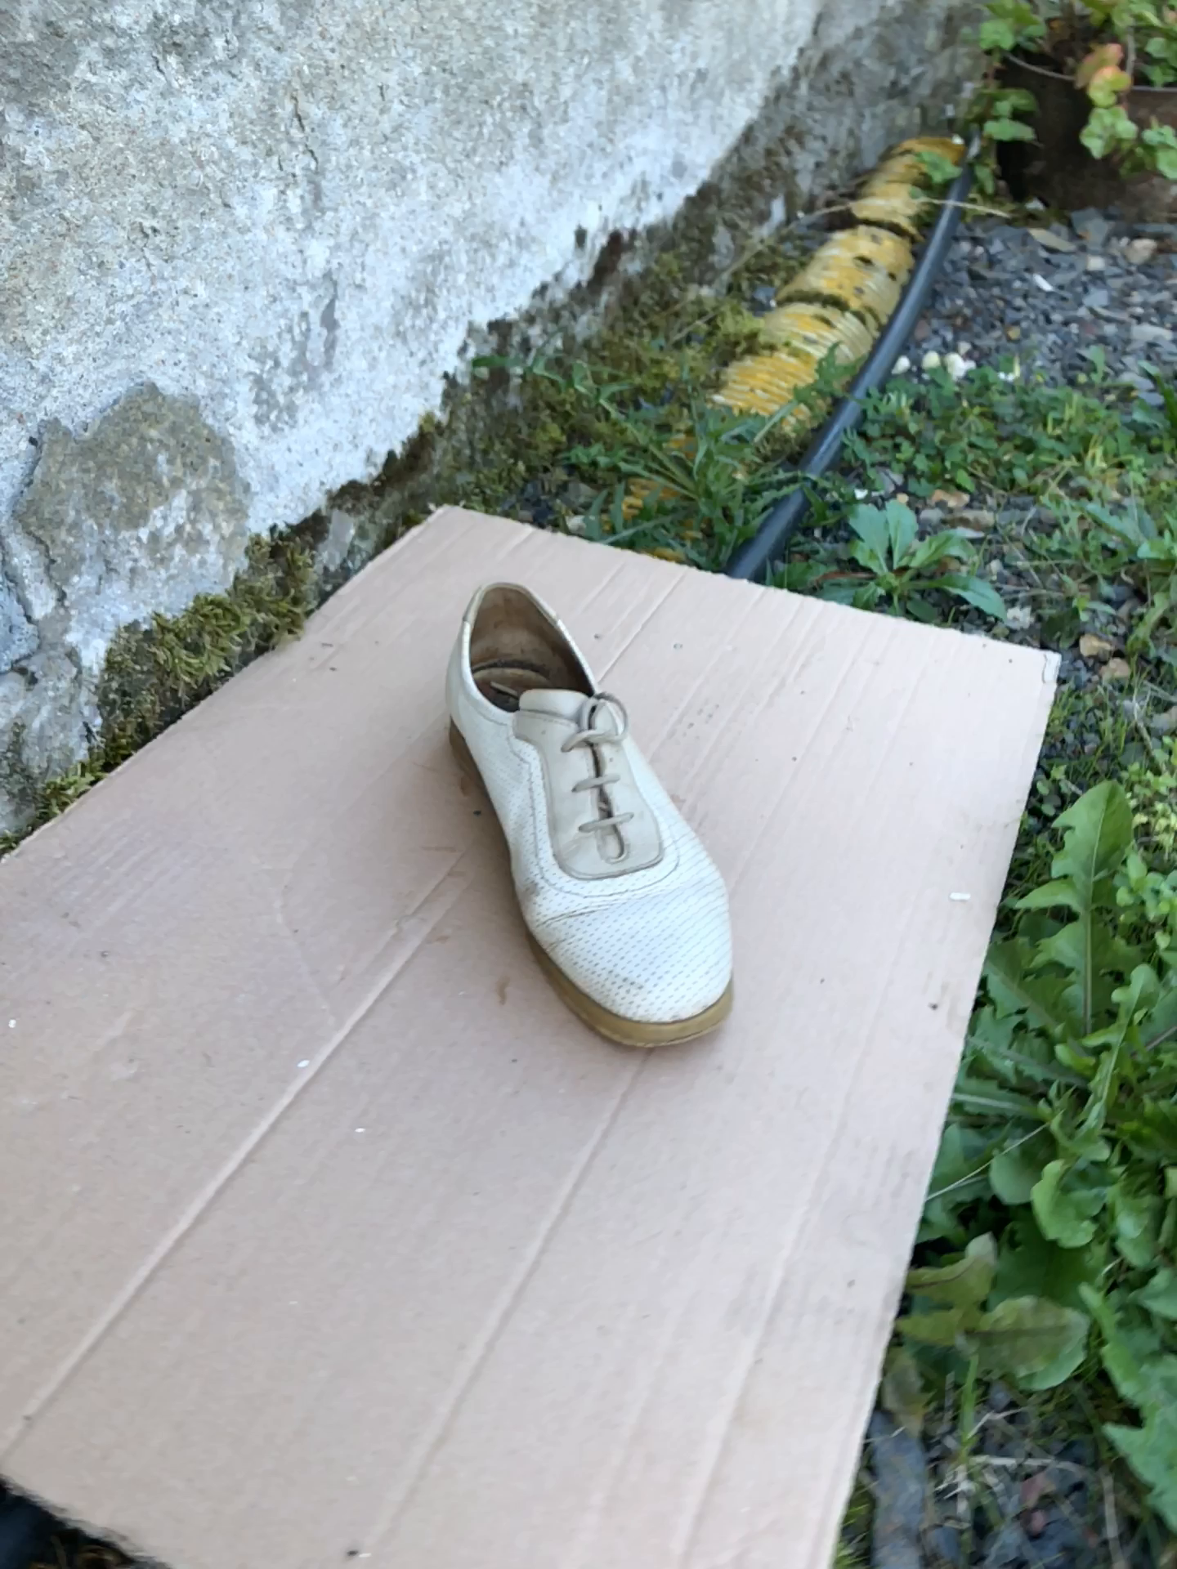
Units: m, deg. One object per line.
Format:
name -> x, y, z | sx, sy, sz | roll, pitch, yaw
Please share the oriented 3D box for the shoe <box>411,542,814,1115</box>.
shoe -> -0.001, 0.003, 0.579 | 0.090, 0.089, 0.261 | -14, 43, -12
